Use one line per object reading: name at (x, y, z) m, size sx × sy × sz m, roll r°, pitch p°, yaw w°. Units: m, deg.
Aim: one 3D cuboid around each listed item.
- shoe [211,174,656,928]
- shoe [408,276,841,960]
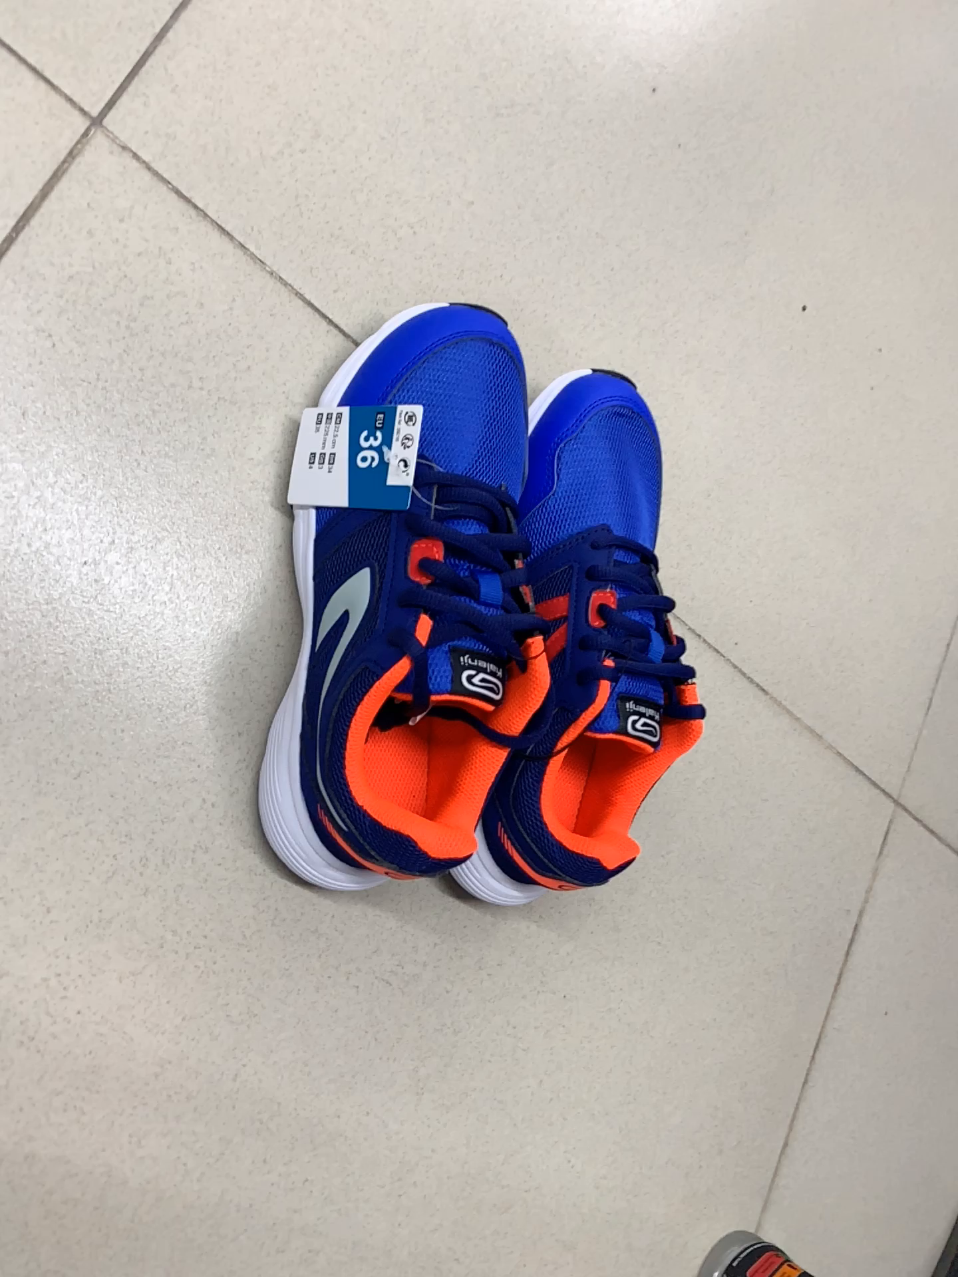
shoe at (-0.021, -0.026, 0.392) m, size 0.090 × 0.120 × 0.250 m, roll 12°, pitch 84°, yaw -34°
shoe at (0.061, -0.004, 0.426) m, size 0.090 × 0.120 × 0.250 m, roll 14°, pitch 83°, yaw -34°
